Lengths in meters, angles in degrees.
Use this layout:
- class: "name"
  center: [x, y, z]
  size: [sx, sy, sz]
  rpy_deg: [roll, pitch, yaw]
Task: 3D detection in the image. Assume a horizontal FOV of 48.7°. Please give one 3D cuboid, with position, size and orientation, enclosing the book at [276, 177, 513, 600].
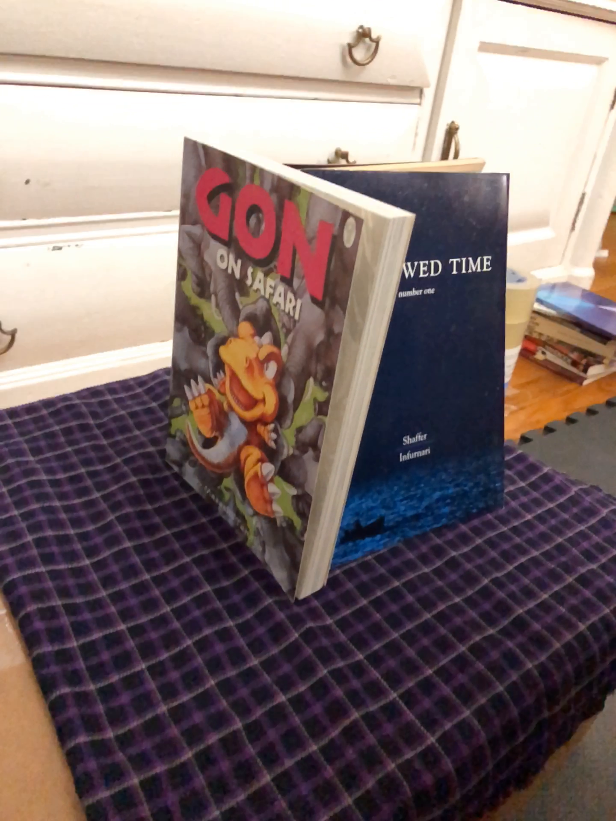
- class: "book"
  center: [0.057, -0.019, 0.361]
  size: [0.150, 0.199, 0.010]
  rpy_deg: [-14, 16, -35]

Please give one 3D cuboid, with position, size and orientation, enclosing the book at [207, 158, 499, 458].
- class: "book"
  center: [0.021, -0.057, 0.413]
  size: [0.140, 0.199, 0.010]
  rpy_deg: [-18, 58, -36]

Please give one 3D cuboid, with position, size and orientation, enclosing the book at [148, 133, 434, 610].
- class: "book"
  center: [-0.024, -0.021, 0.334]
  size: [0.020, 0.189, 0.140]
  rpy_deg: [-11, 34, -42]
